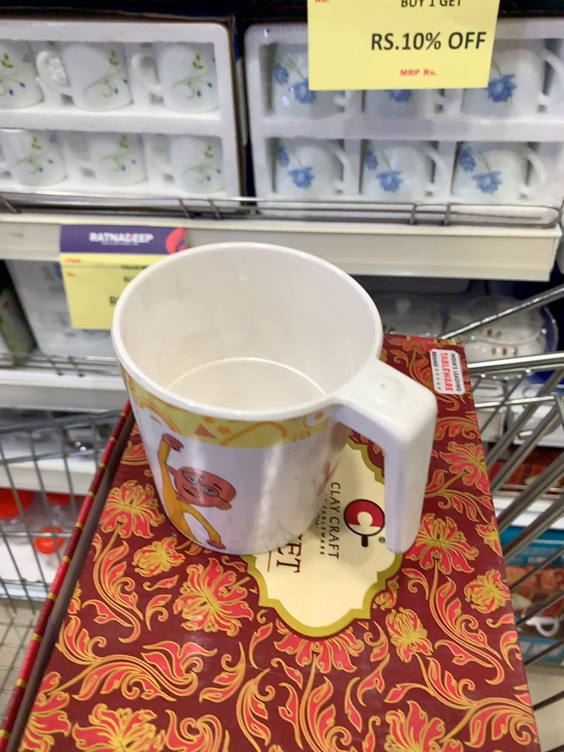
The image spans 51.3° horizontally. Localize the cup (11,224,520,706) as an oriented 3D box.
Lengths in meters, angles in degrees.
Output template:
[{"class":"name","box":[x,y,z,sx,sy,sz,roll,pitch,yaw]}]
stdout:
[{"class":"cup","box":[-0.004,0.022,0.186,0.110,0.080,0.080,26,51,22]}]
